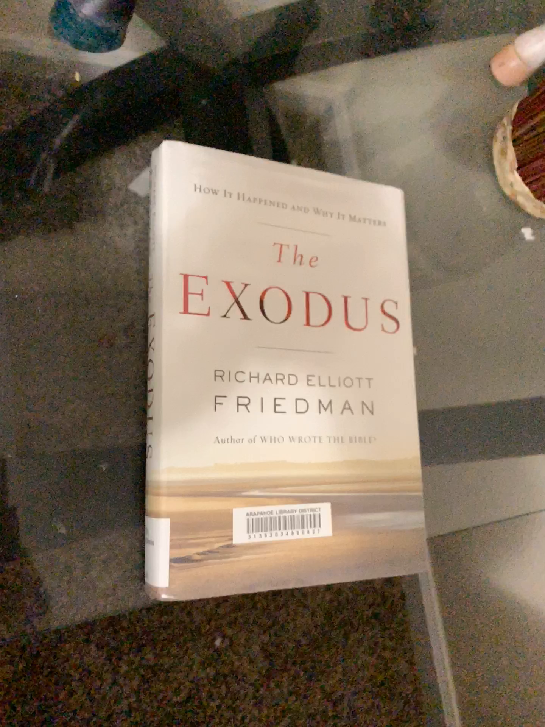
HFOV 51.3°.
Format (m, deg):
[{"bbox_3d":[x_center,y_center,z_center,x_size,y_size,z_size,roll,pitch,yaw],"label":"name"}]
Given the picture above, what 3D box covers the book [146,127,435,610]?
[{"bbox_3d":[0.016,0.003,0.318,0.160,0.030,0.231,3,83,-26],"label":"book"}]
